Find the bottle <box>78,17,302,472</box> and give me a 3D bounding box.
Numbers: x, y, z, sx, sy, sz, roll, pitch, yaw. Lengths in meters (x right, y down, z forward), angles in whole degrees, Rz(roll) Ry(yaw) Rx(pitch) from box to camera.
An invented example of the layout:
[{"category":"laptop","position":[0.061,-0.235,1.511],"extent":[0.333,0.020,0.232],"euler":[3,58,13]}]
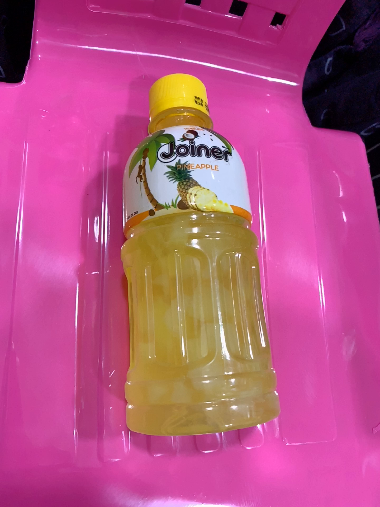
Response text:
[{"category":"bottle","position":[-0.003,-0.006,0.169],"extent":[0.070,0.060,0.160],"euler":[-3,79,1]}]
